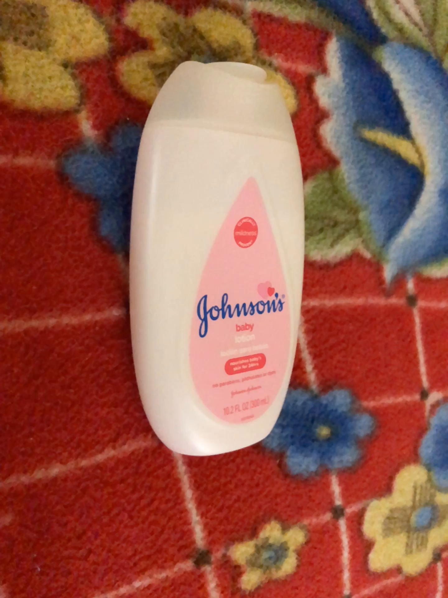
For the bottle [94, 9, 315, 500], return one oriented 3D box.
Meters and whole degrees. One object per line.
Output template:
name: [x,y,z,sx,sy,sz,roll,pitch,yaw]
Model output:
bottle: [-0.005,-0.016,0.209,0.080,0.030,0.170,-5,94,-34]
